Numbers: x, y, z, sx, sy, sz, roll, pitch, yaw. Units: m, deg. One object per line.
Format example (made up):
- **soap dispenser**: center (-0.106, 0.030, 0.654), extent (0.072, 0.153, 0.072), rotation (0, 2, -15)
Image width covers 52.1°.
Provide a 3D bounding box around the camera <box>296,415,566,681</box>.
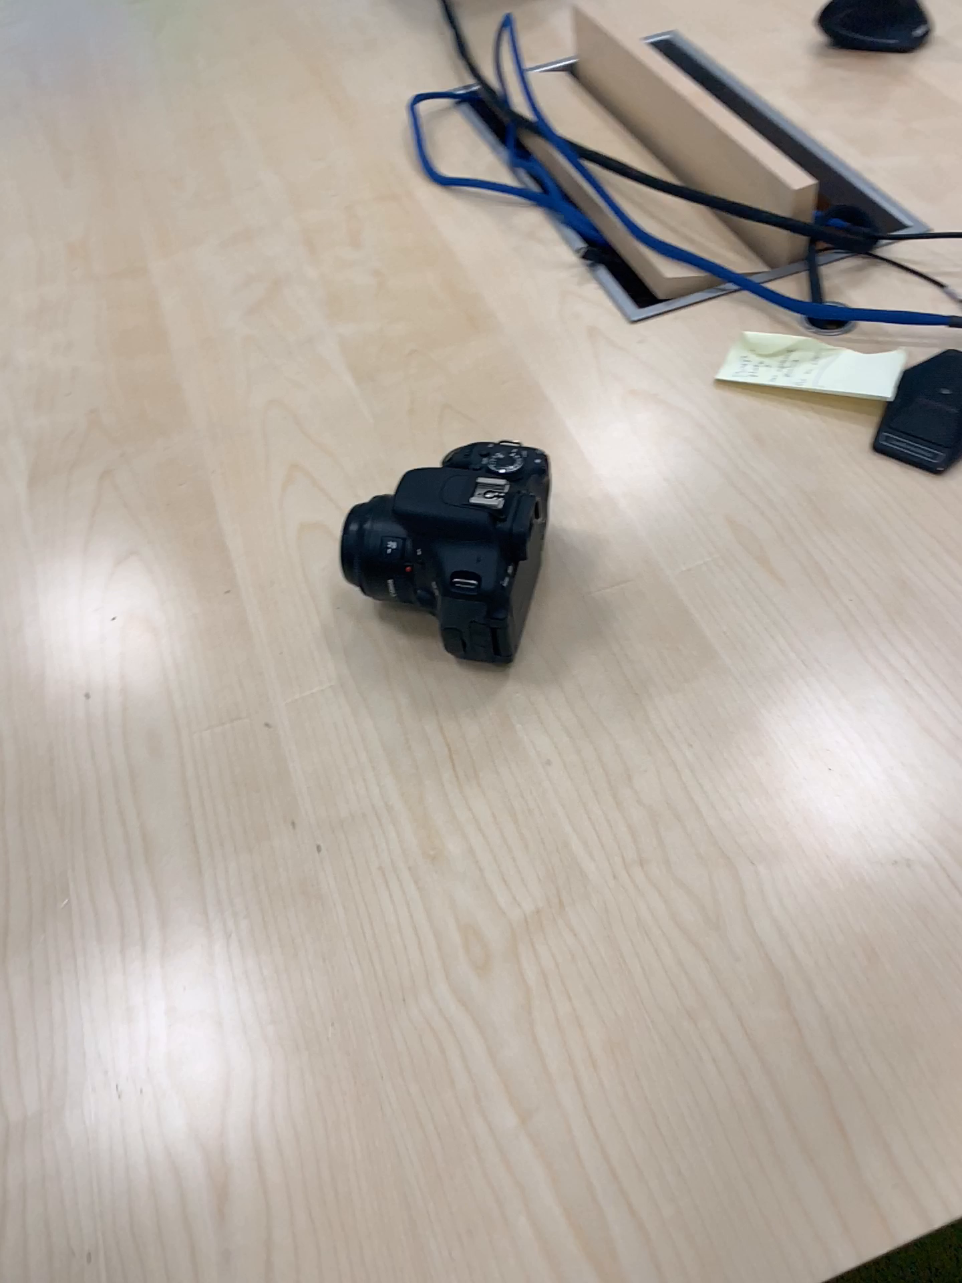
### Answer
- **camera**: center (-0.023, -0.060, 0.609), extent (0.127, 0.085, 0.130), rotation (7, 53, 13)
